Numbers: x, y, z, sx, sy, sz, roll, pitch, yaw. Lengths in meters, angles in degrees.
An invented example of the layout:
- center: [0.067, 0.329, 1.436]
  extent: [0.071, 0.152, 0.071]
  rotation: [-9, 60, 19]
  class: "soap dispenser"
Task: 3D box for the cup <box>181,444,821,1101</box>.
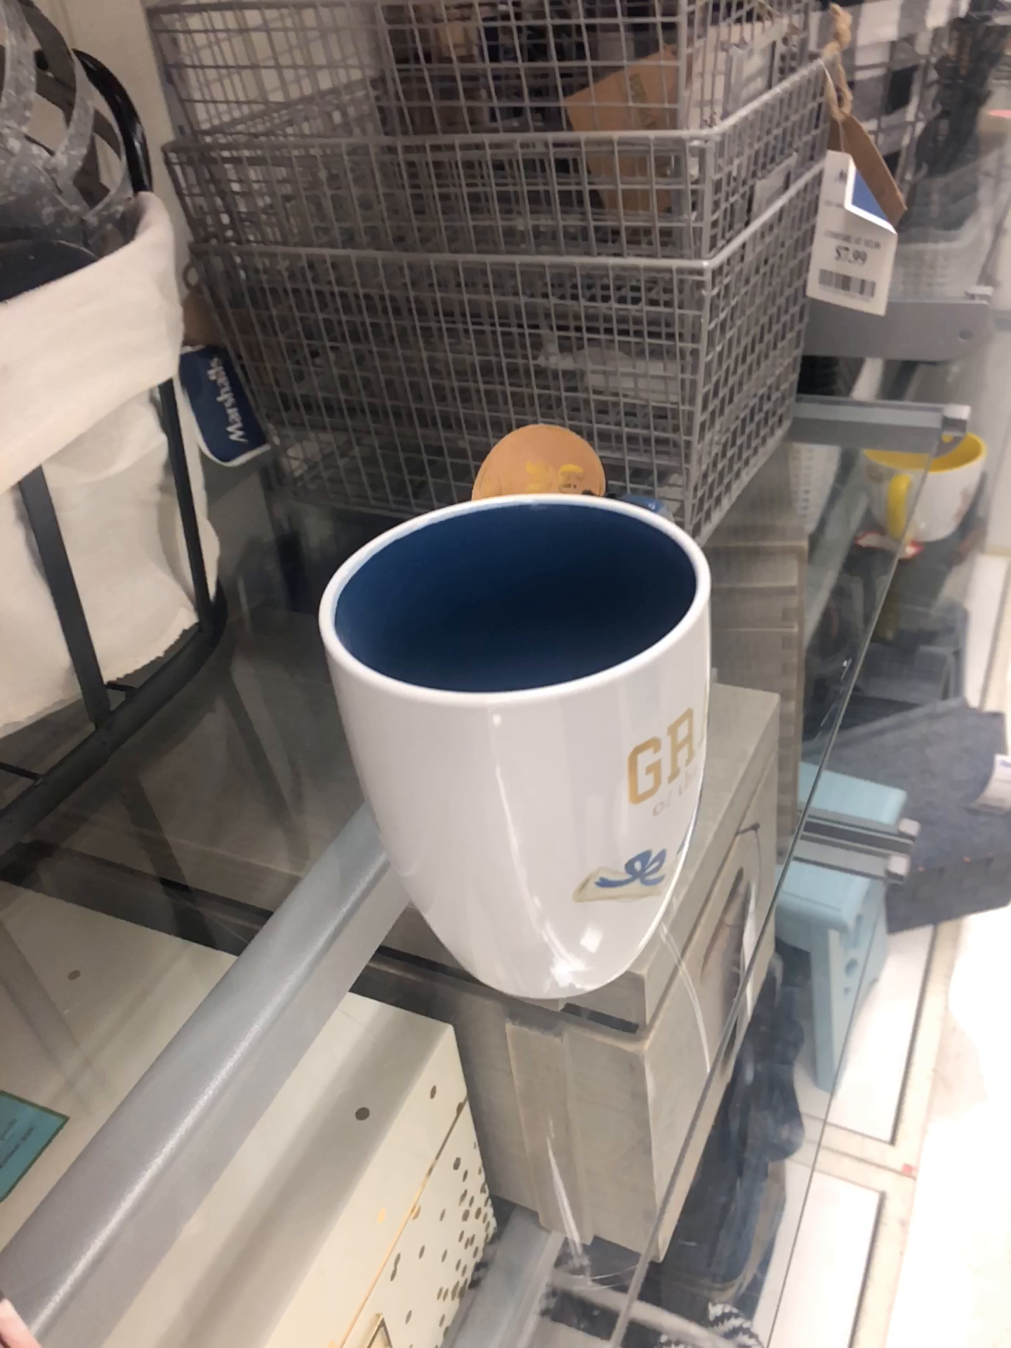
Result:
- center: [0.012, 0.014, 0.325]
  extent: [0.116, 0.096, 0.150]
  rotation: [11, 39, 25]
  class: "cup"
